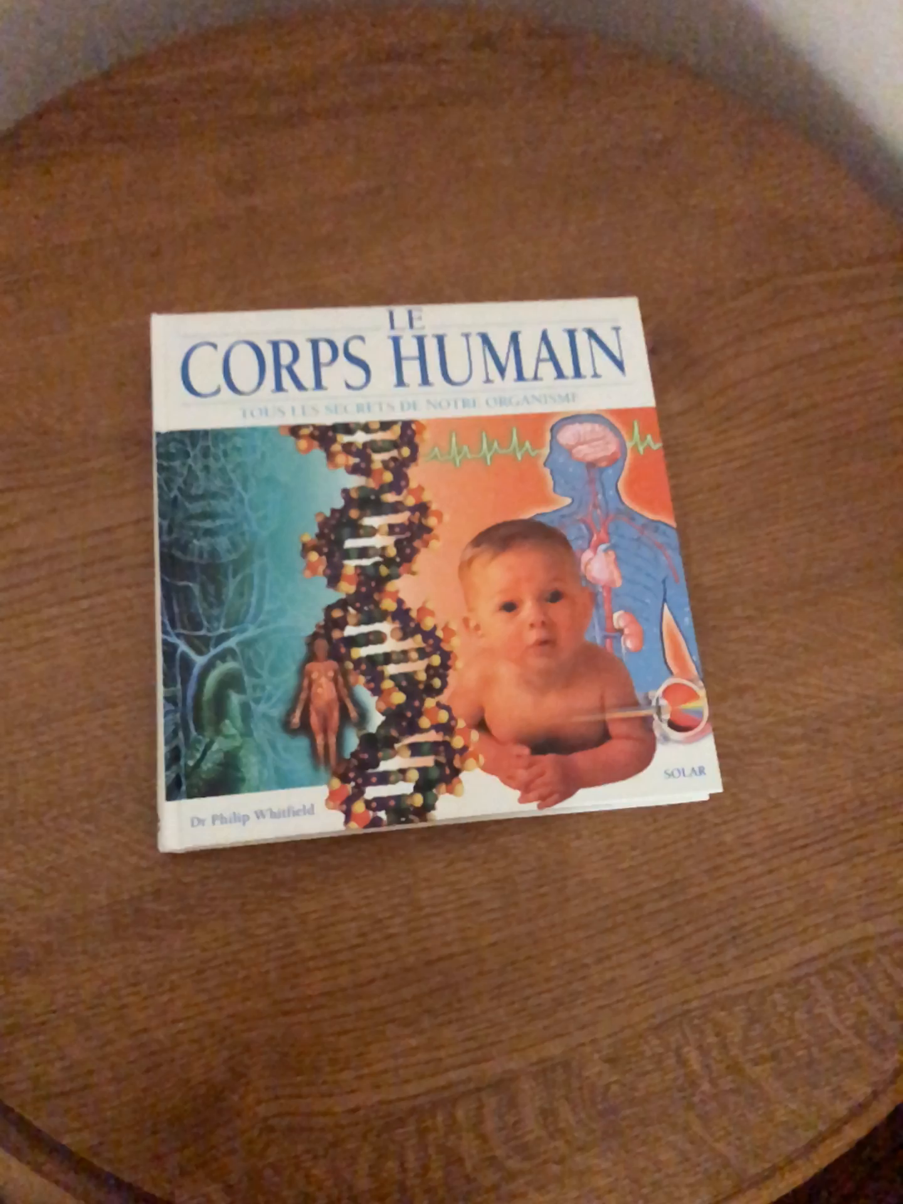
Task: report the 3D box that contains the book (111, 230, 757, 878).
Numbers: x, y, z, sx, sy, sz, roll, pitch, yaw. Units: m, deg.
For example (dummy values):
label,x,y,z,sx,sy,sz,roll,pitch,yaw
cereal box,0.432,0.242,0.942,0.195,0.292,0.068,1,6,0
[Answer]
label,x,y,z,sx,sy,sz,roll,pitch,yaw
book,-0.016,-0.033,0.478,0.270,0.040,0.290,-5,77,-6
